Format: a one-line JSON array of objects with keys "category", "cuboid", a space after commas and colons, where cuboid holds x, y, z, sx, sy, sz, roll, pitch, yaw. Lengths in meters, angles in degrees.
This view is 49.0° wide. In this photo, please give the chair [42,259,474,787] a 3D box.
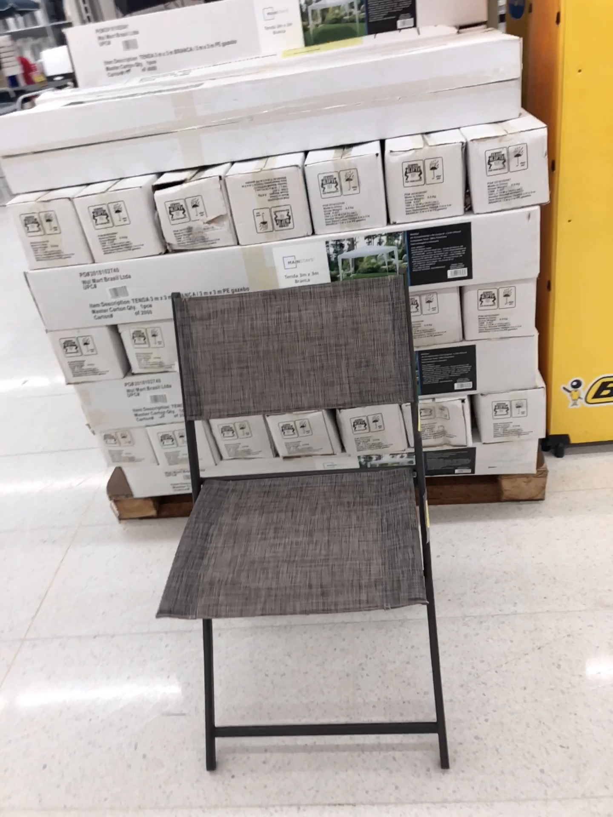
[{"category": "chair", "cuboid": [-0.001, 0.212, 1.198, 0.510, 0.754, 0.504, -5, 32, 8]}]
